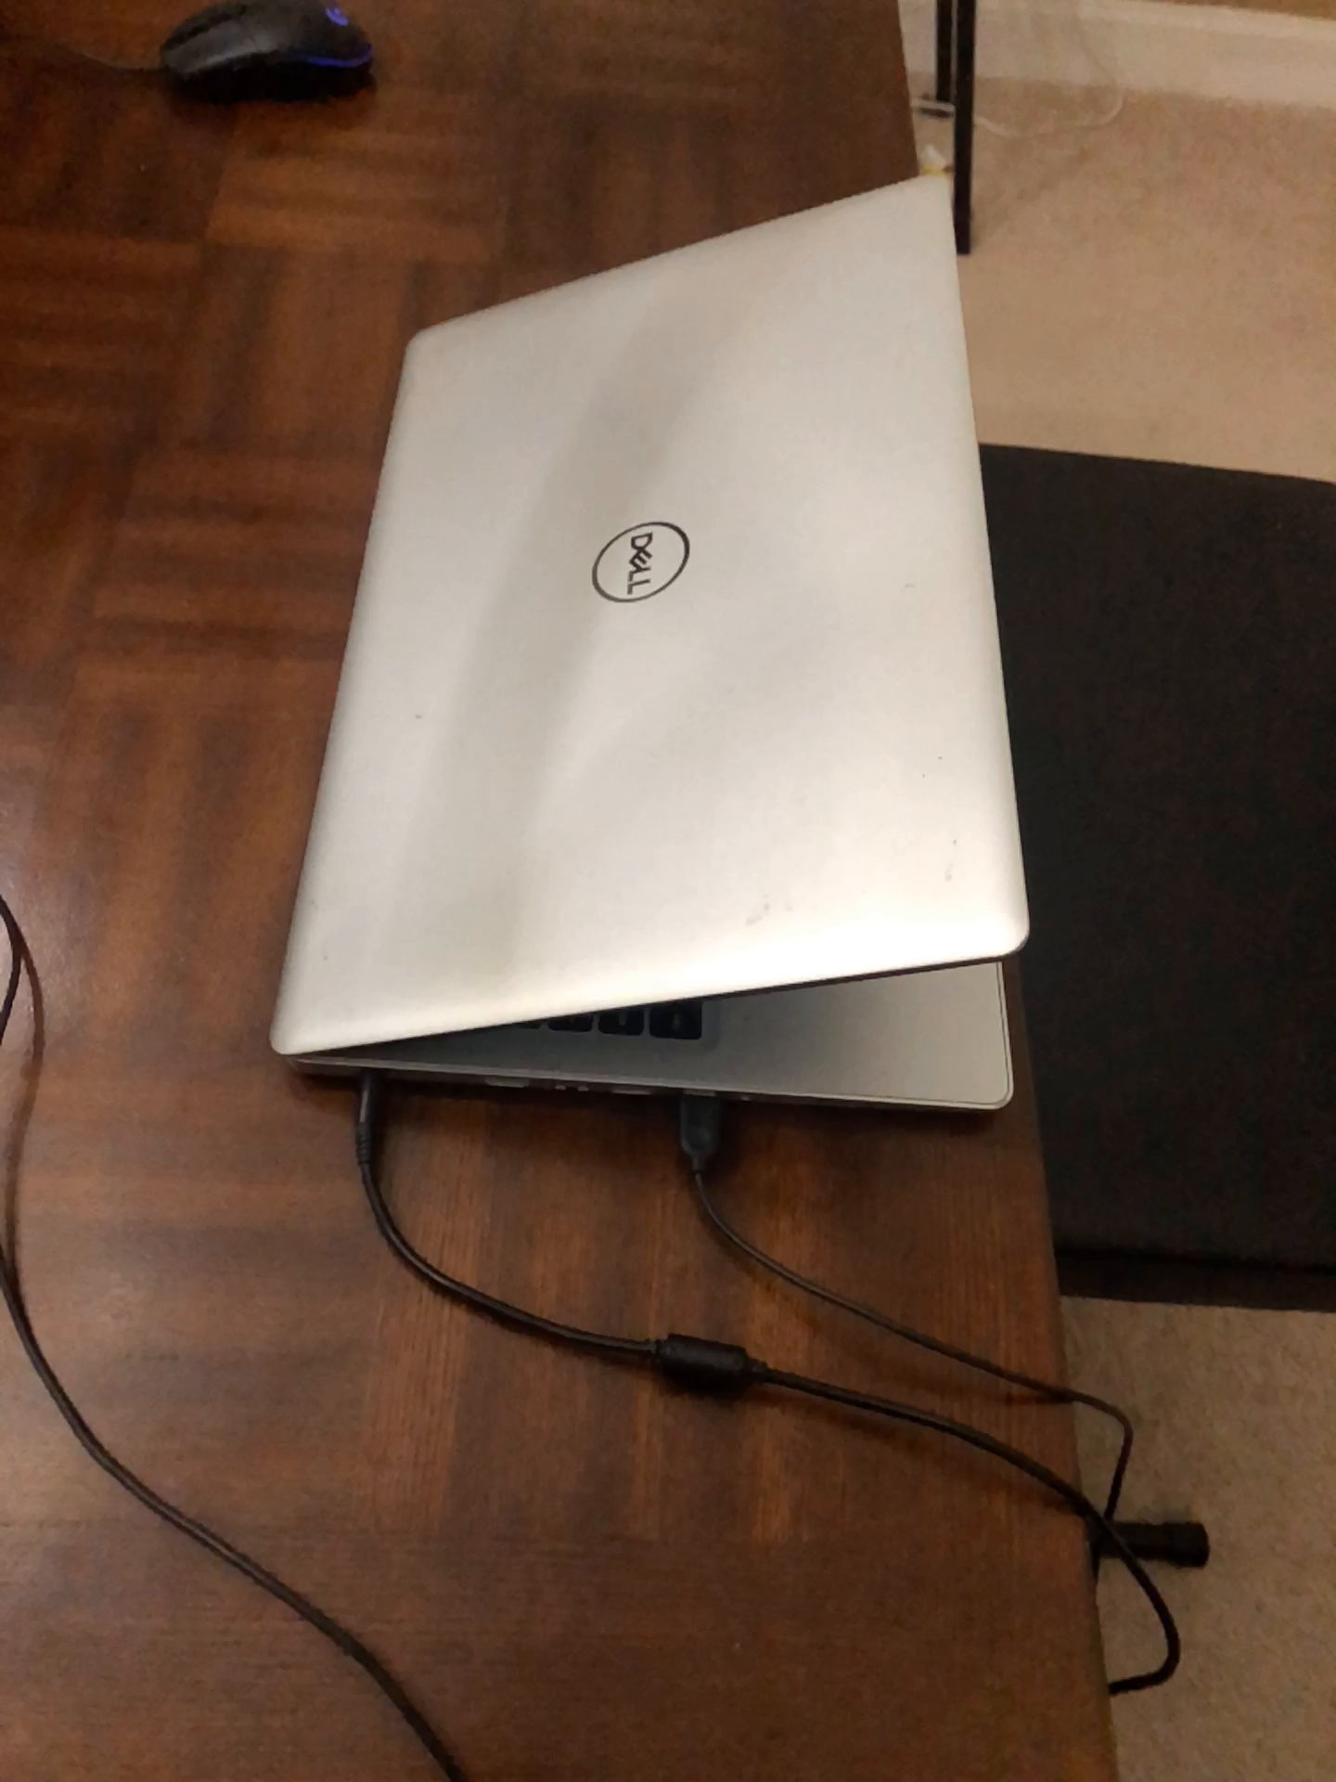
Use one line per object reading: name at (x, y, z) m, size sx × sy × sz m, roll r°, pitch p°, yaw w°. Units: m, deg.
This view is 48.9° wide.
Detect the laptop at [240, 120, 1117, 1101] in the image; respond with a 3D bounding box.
laptop at (0.009, -0.119, 0.554) m, size 0.249 × 0.103 × 0.369 m, roll 5°, pitch 58°, yaw -5°
